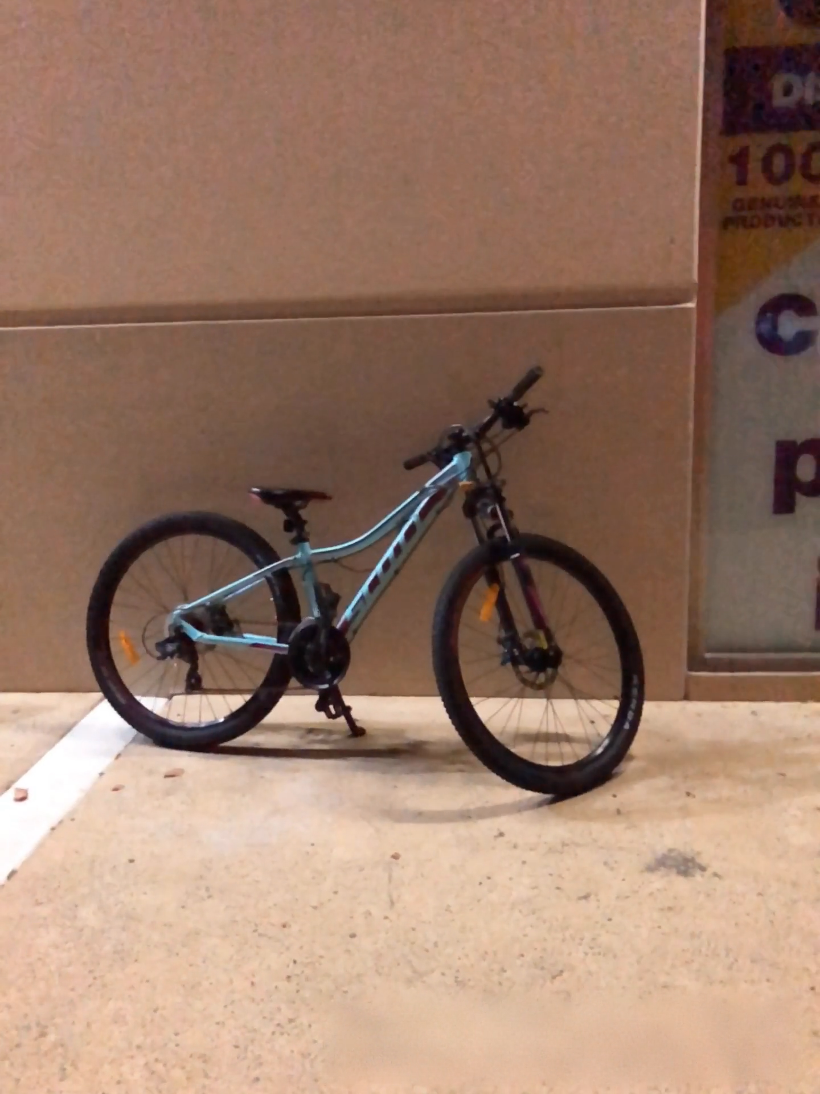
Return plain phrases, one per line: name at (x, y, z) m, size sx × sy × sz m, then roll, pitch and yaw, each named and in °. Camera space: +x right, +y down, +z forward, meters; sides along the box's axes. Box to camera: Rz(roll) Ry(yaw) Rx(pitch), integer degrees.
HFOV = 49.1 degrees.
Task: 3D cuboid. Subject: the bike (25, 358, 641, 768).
bike at (-0.144, 0.019, 2.670) m, size 1.602 × 1.065 × 0.588 m, roll -1°, pitch 11°, yaw 8°
